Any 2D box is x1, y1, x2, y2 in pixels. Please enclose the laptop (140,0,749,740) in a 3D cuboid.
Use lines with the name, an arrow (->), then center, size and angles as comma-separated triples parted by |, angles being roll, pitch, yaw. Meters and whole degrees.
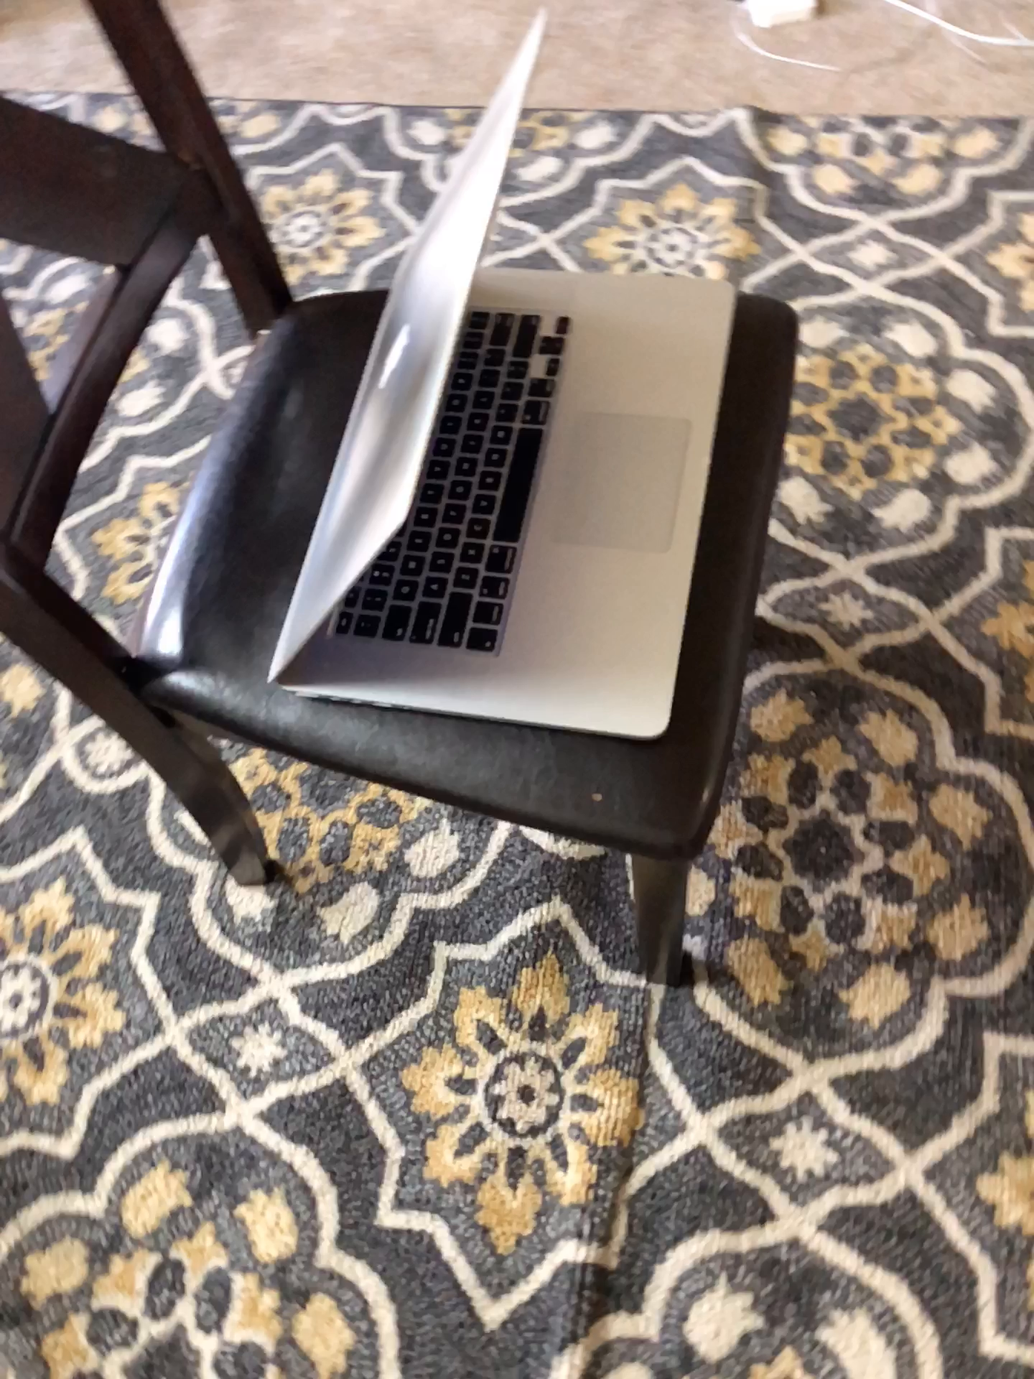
laptop -> -0.010, -0.188, 0.647 | 0.237, 0.200, 0.351 | 6, 64, 11
